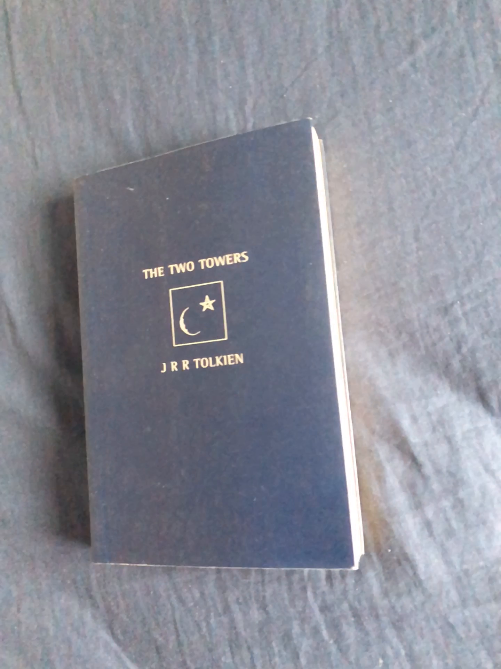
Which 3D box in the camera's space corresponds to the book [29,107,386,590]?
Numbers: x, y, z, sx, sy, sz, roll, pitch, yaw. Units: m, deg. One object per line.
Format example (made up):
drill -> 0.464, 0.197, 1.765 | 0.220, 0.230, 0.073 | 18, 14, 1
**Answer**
book -> -0.022, 0.012, 0.266 | 0.140, 0.060, 0.190 | -9, 82, 17
